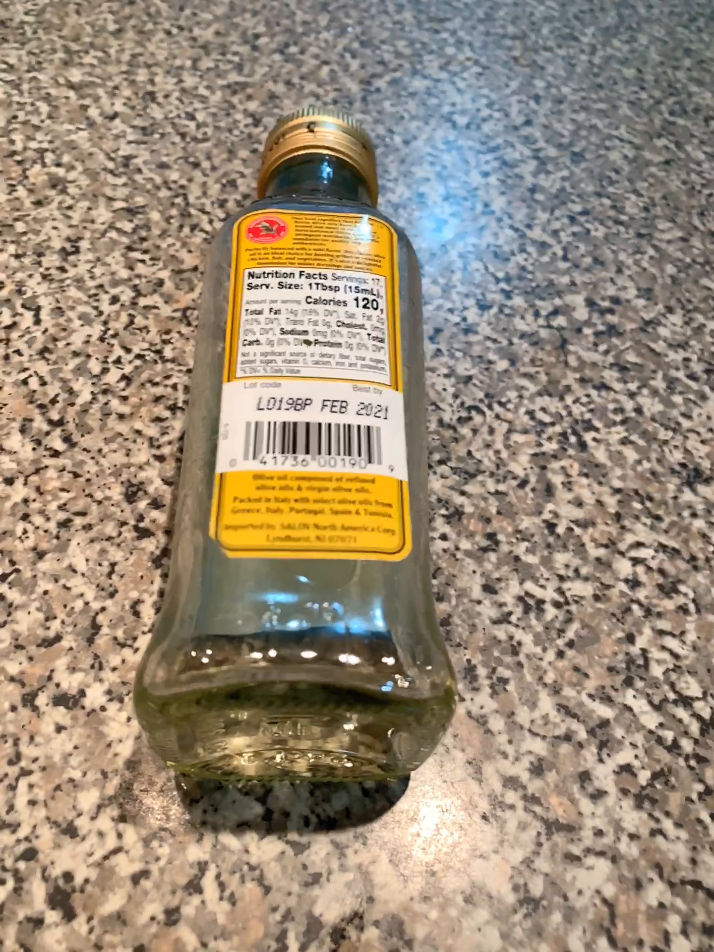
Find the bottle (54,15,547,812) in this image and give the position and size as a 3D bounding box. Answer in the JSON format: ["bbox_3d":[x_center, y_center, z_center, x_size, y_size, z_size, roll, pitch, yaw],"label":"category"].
[{"bbox_3d":[-0.010,-0.028,0.168,0.060,0.060,0.181,3,54,-5],"label":"bottle"}]
